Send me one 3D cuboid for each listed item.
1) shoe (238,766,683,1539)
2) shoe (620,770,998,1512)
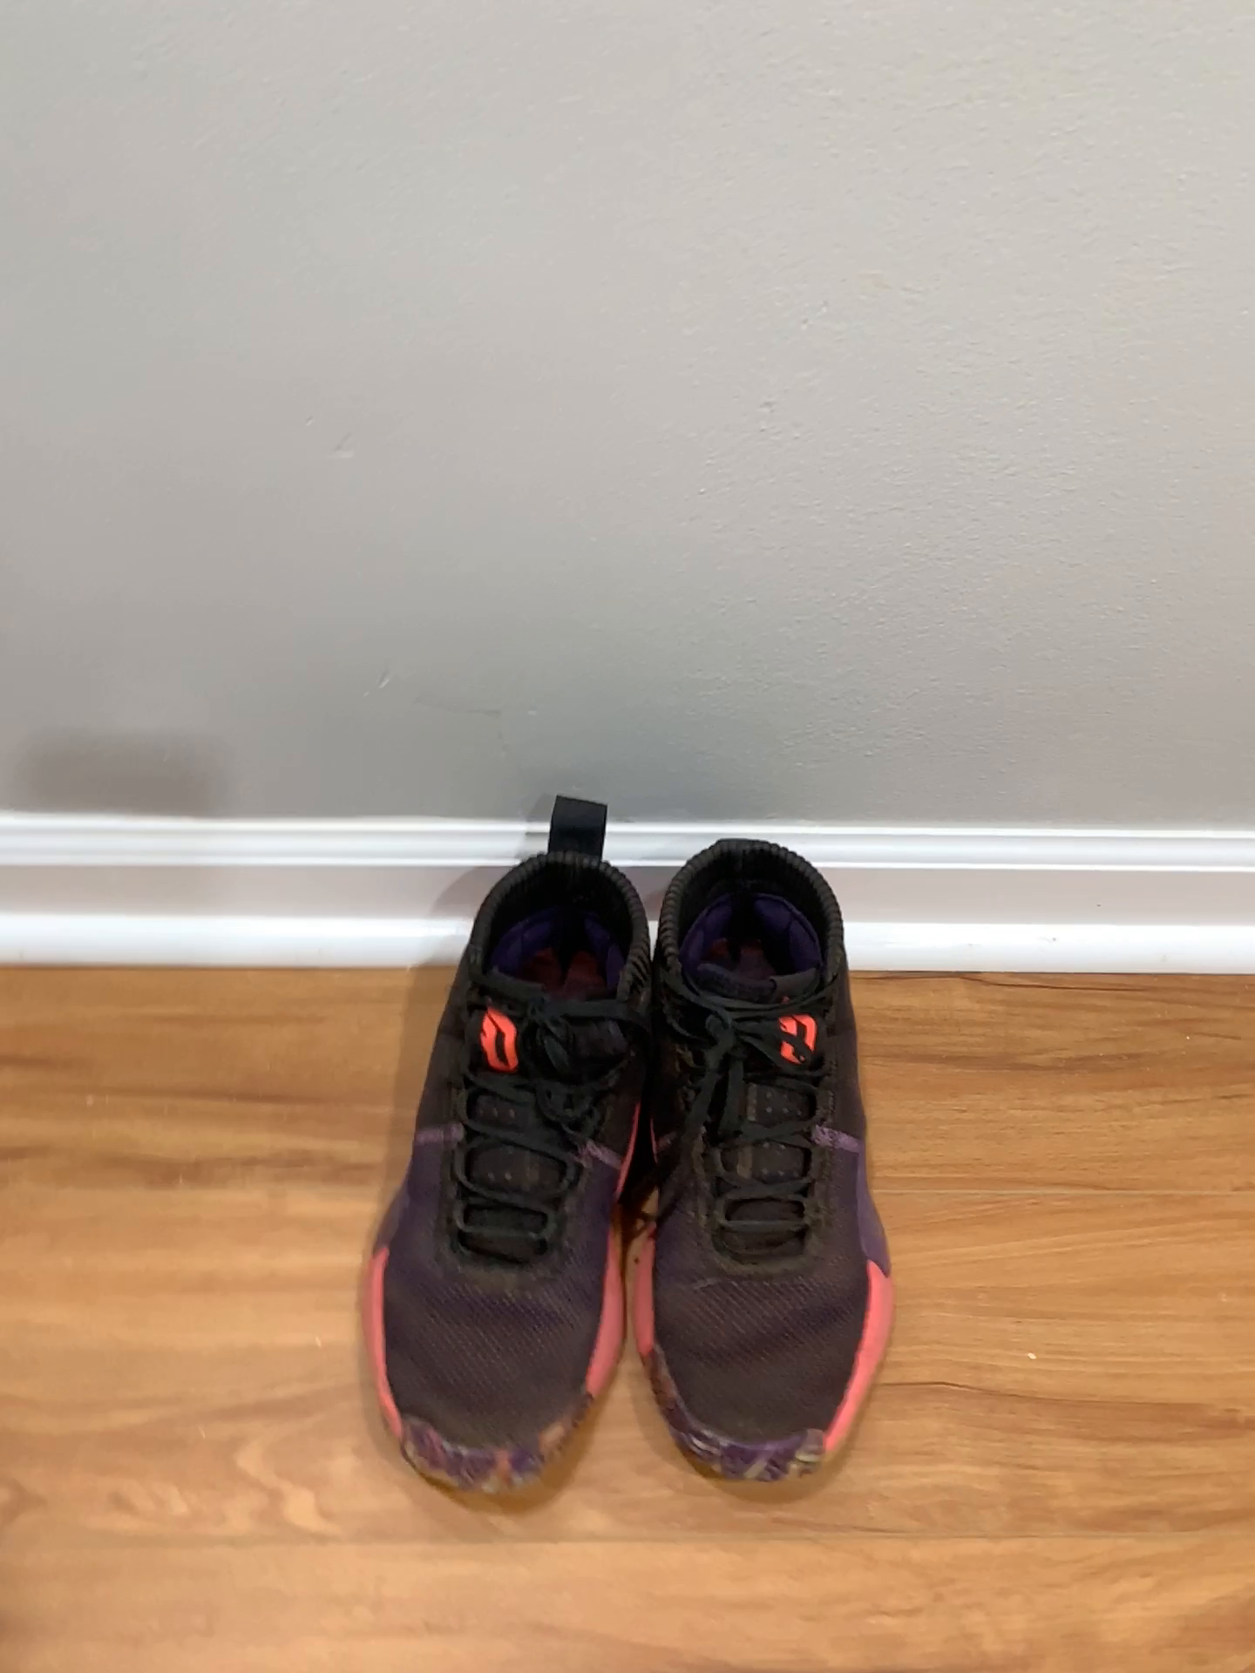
[{"bbox_3d":[-0.051,0.119,0.556,0.119,0.131,0.288,6,45,4],"label":"shoe"},{"bbox_3d":[0.060,0.117,0.562,0.119,0.131,0.288,1,45,-1],"label":"shoe"}]
